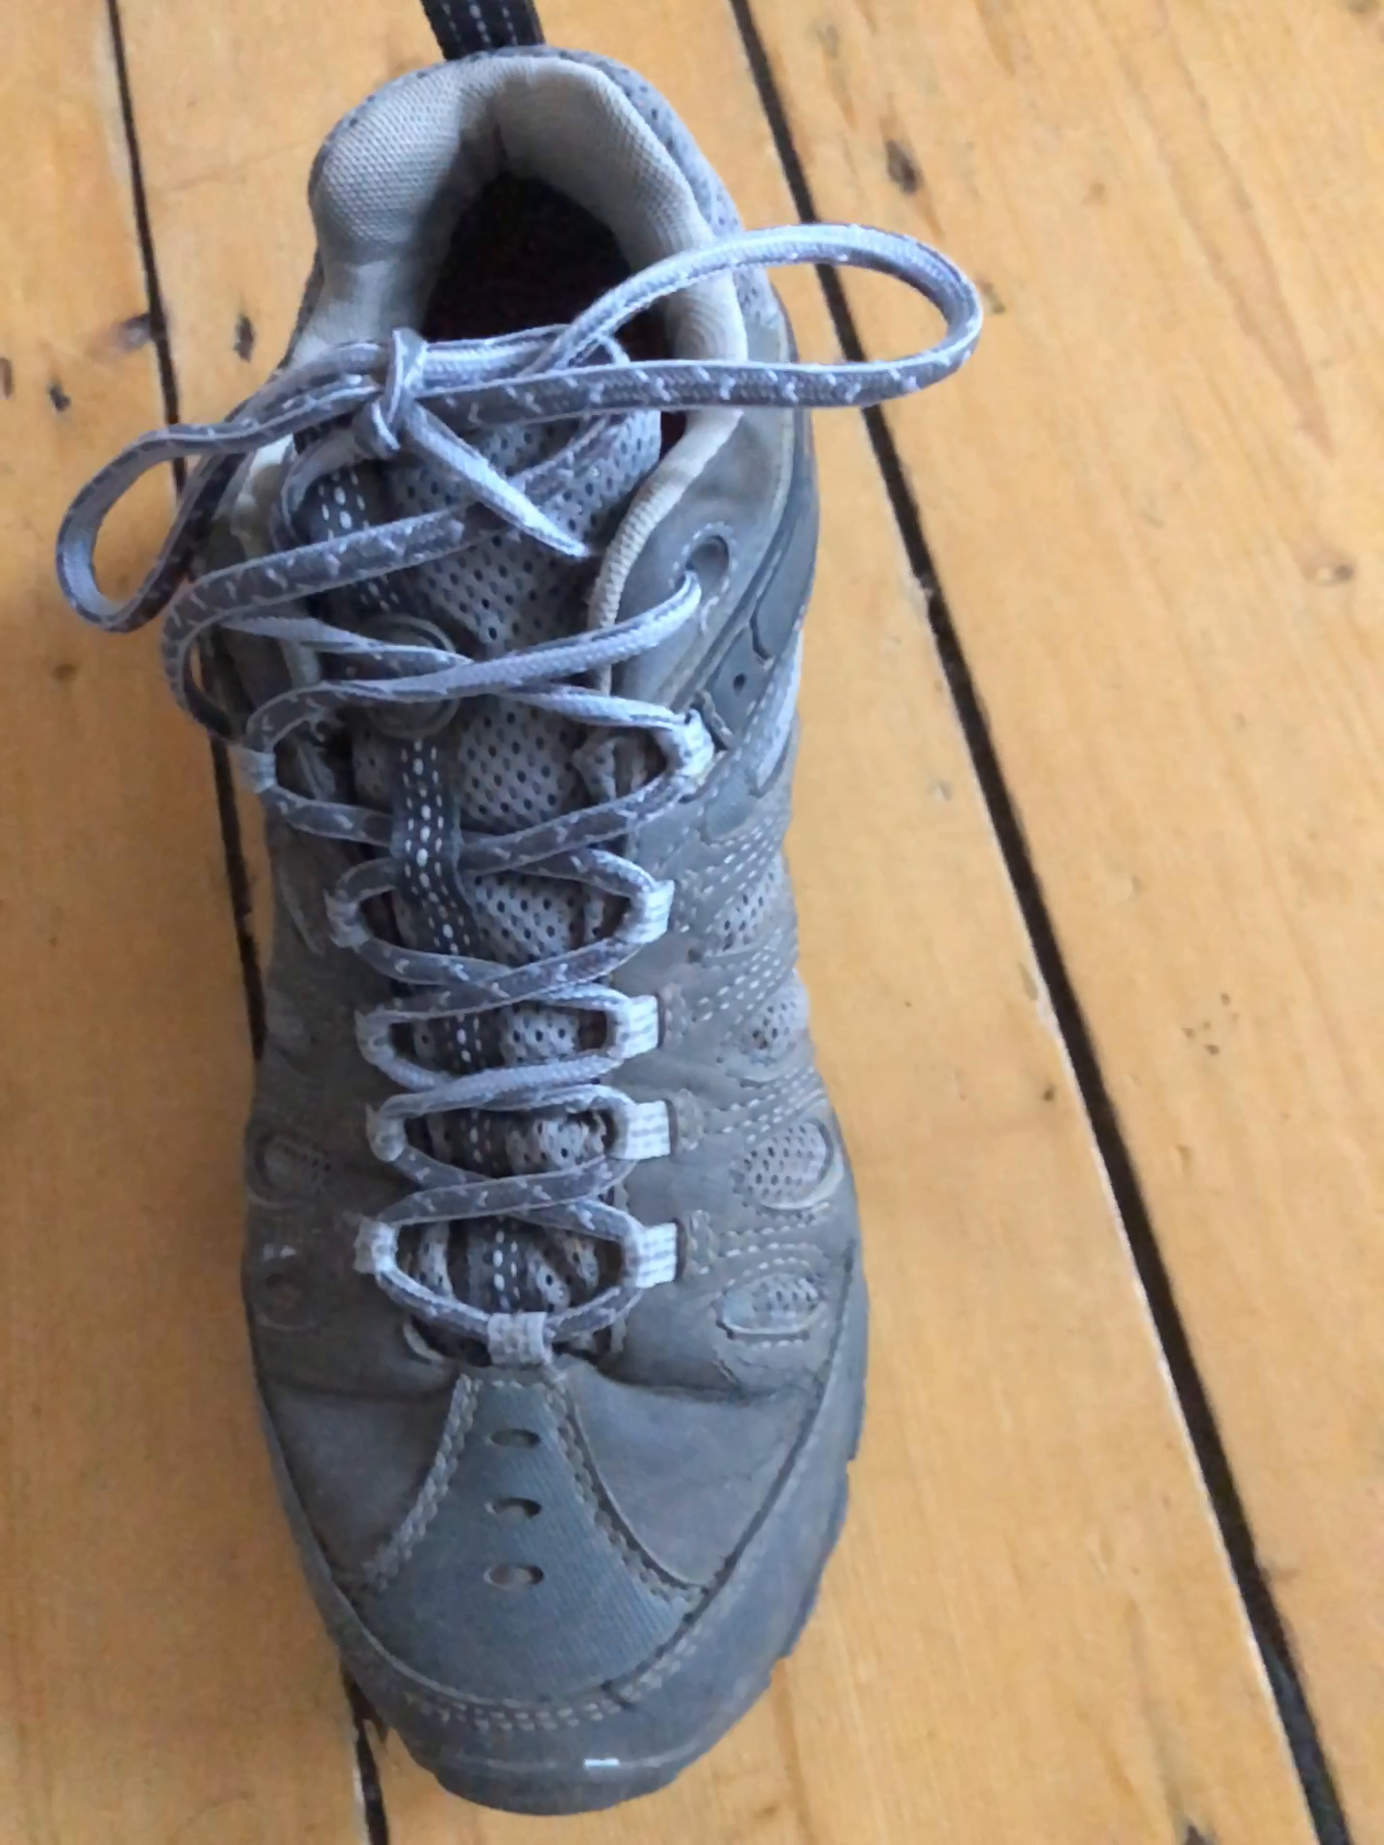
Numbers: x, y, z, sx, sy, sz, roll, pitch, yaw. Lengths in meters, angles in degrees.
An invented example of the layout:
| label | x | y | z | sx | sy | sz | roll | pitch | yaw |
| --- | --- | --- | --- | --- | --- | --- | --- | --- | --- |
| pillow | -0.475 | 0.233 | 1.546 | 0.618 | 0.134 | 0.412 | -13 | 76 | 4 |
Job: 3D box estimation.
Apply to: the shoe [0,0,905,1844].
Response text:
| label | x | y | z | sx | sy | sz | roll | pitch | yaw |
| --- | --- | --- | --- | --- | --- | --- | --- | --- | --- |
| shoe | -0.025 | -0.008 | 0.248 | 0.100 | 0.110 | 0.280 | -3 | 73 | 10 |
